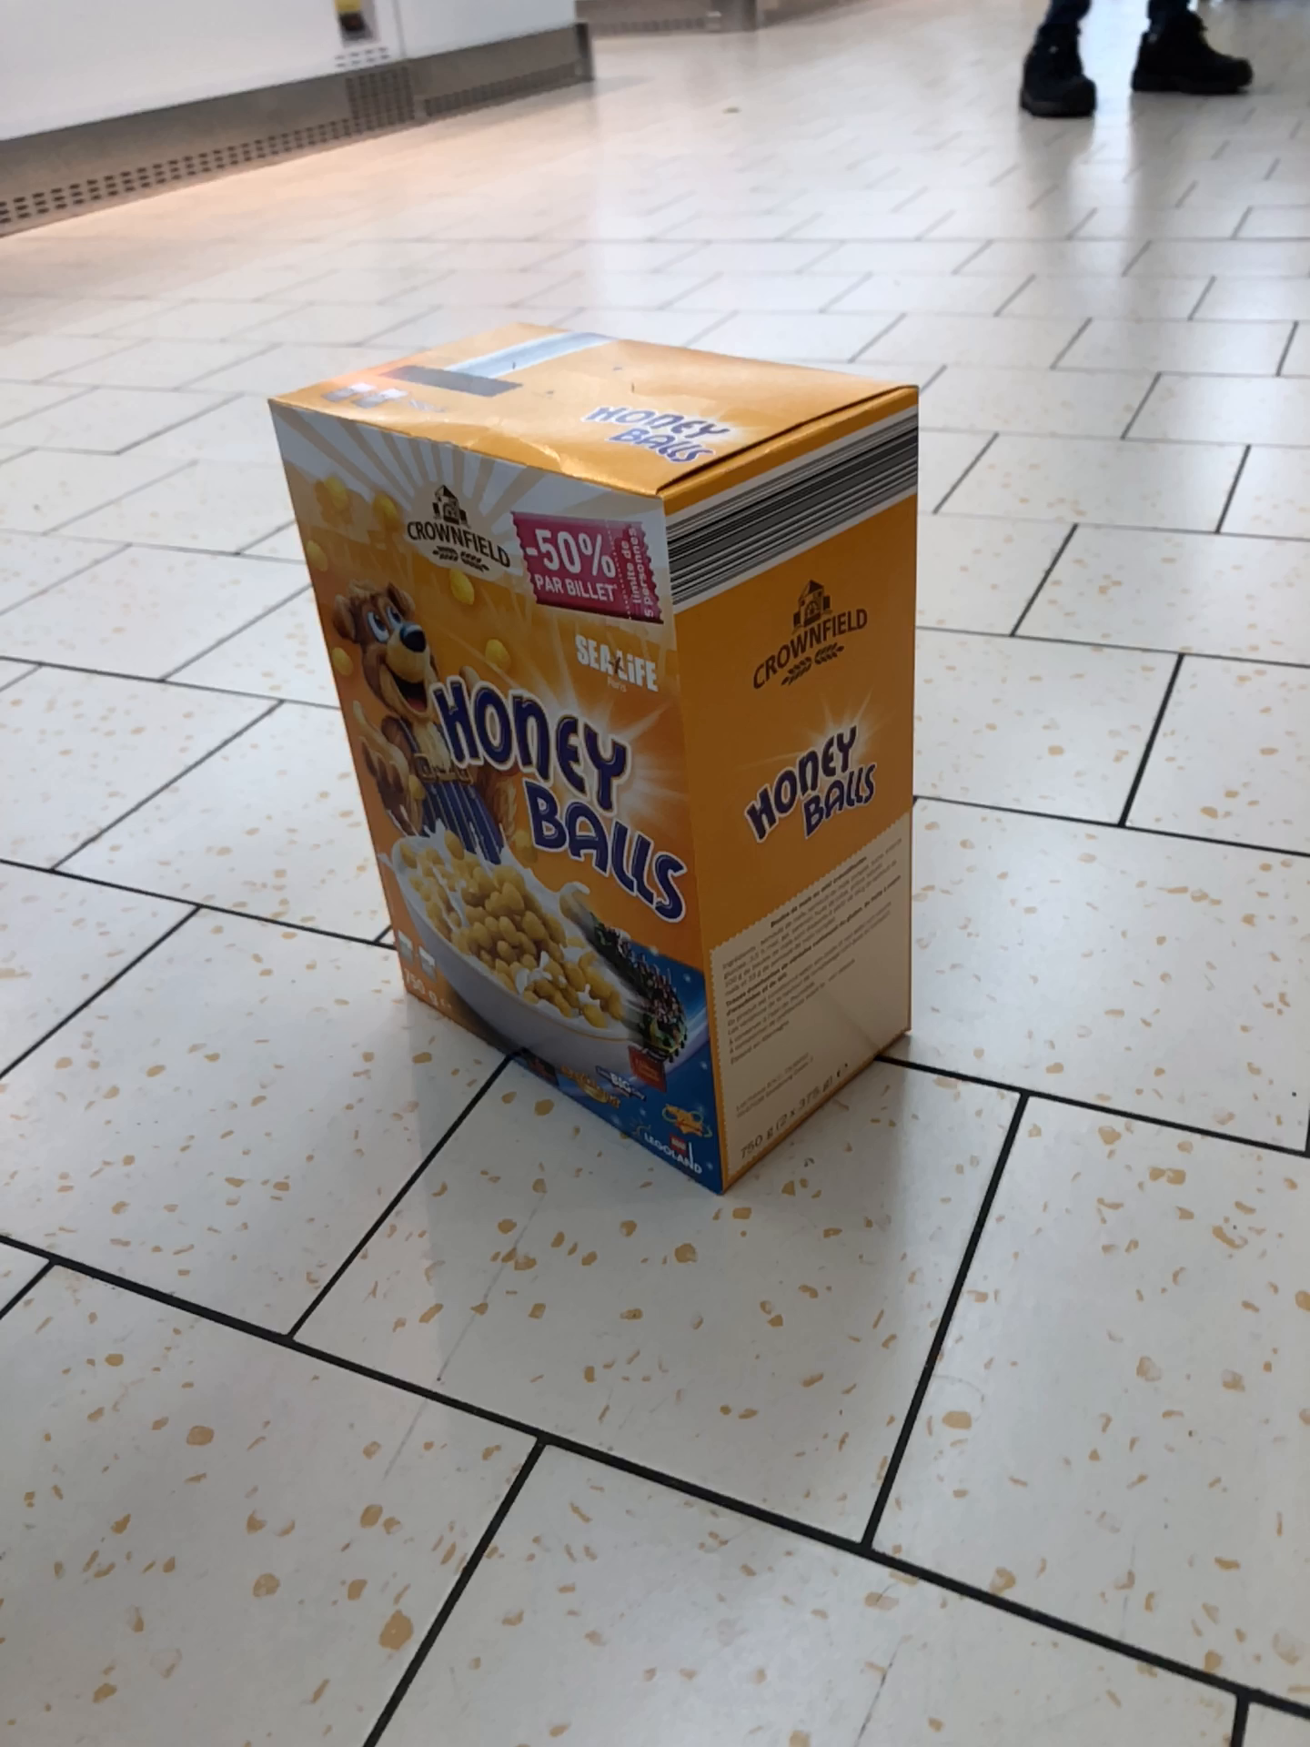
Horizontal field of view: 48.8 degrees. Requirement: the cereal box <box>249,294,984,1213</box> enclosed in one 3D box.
[{"bbox_3d":[-0.009,-0.056,0.533,0.131,0.258,0.210,-30,40,-33],"label":"cereal box"}]
